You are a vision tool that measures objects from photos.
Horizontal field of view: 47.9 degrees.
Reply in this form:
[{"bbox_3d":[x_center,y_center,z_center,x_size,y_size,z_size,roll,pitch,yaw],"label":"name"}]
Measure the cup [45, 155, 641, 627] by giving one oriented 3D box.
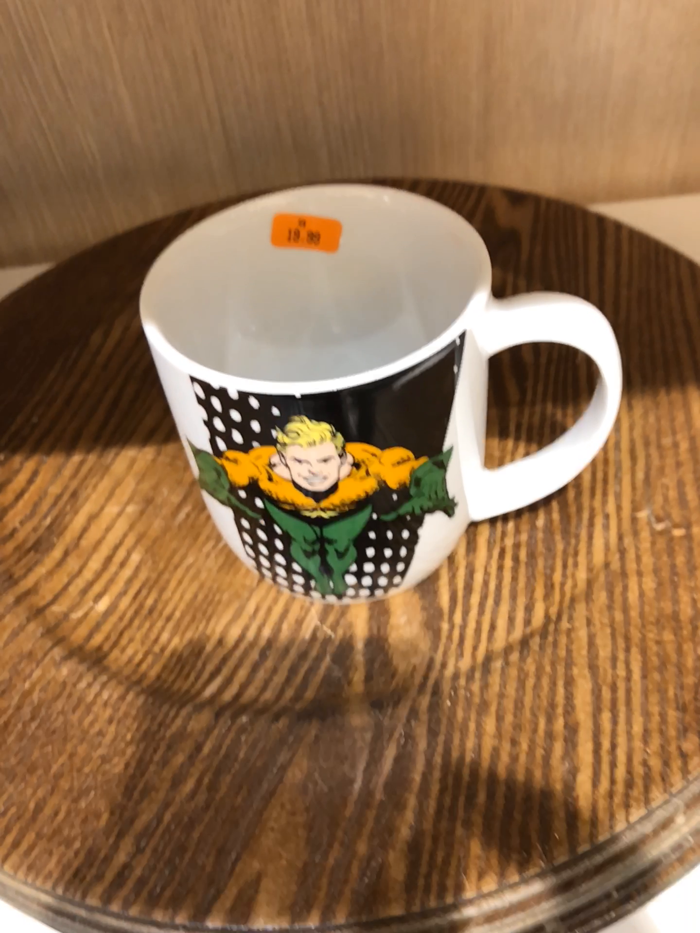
[{"bbox_3d":[0.004,-0.019,0.220,0.120,0.089,0.091,-2,45,8],"label":"cup"}]
